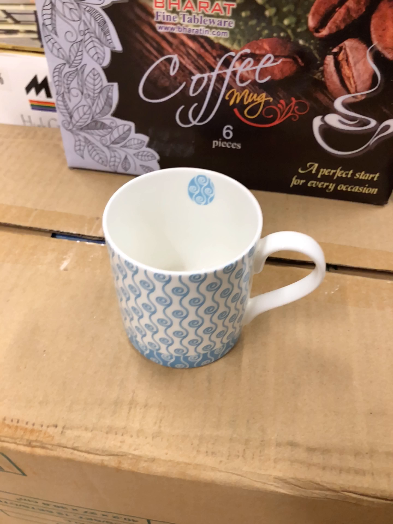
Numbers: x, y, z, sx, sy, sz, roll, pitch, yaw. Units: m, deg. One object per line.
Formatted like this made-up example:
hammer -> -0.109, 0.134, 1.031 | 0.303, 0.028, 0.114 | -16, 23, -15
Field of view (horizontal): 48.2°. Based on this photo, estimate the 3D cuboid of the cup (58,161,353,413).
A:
cup -> 0.007, 0.014, 0.219 | 0.110, 0.089, 0.071 | 8, 49, 5
